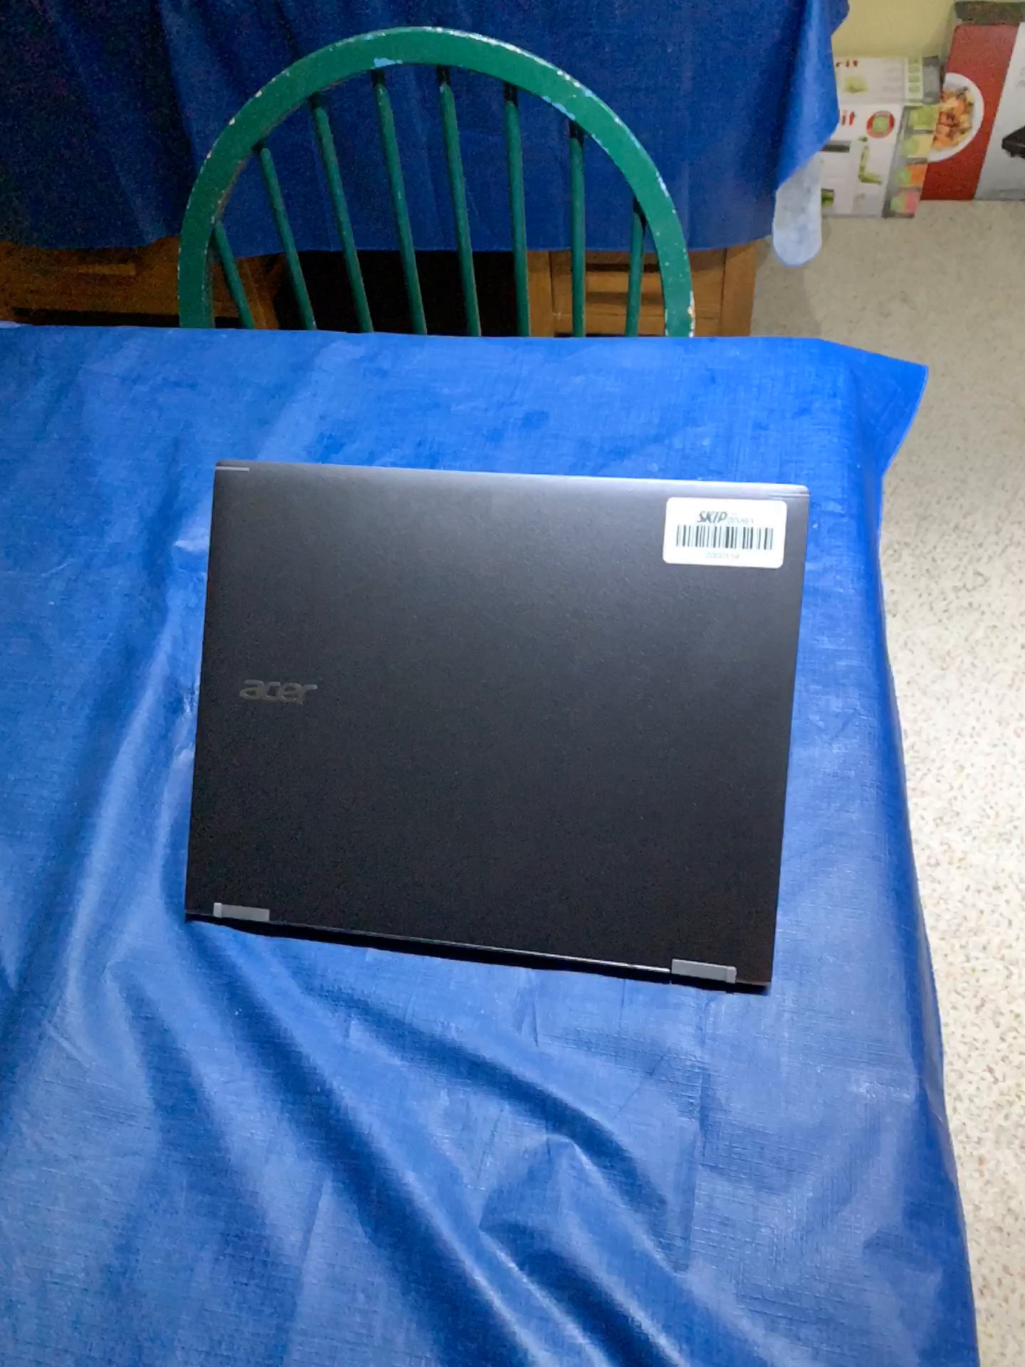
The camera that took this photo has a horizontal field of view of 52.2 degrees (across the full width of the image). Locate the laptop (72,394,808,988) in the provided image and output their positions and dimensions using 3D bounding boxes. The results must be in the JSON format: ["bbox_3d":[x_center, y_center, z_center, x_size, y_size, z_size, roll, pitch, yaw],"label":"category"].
[{"bbox_3d":[-0.010,-0.007,0.552,0.303,0.151,0.251,5,53,10],"label":"laptop"}]
